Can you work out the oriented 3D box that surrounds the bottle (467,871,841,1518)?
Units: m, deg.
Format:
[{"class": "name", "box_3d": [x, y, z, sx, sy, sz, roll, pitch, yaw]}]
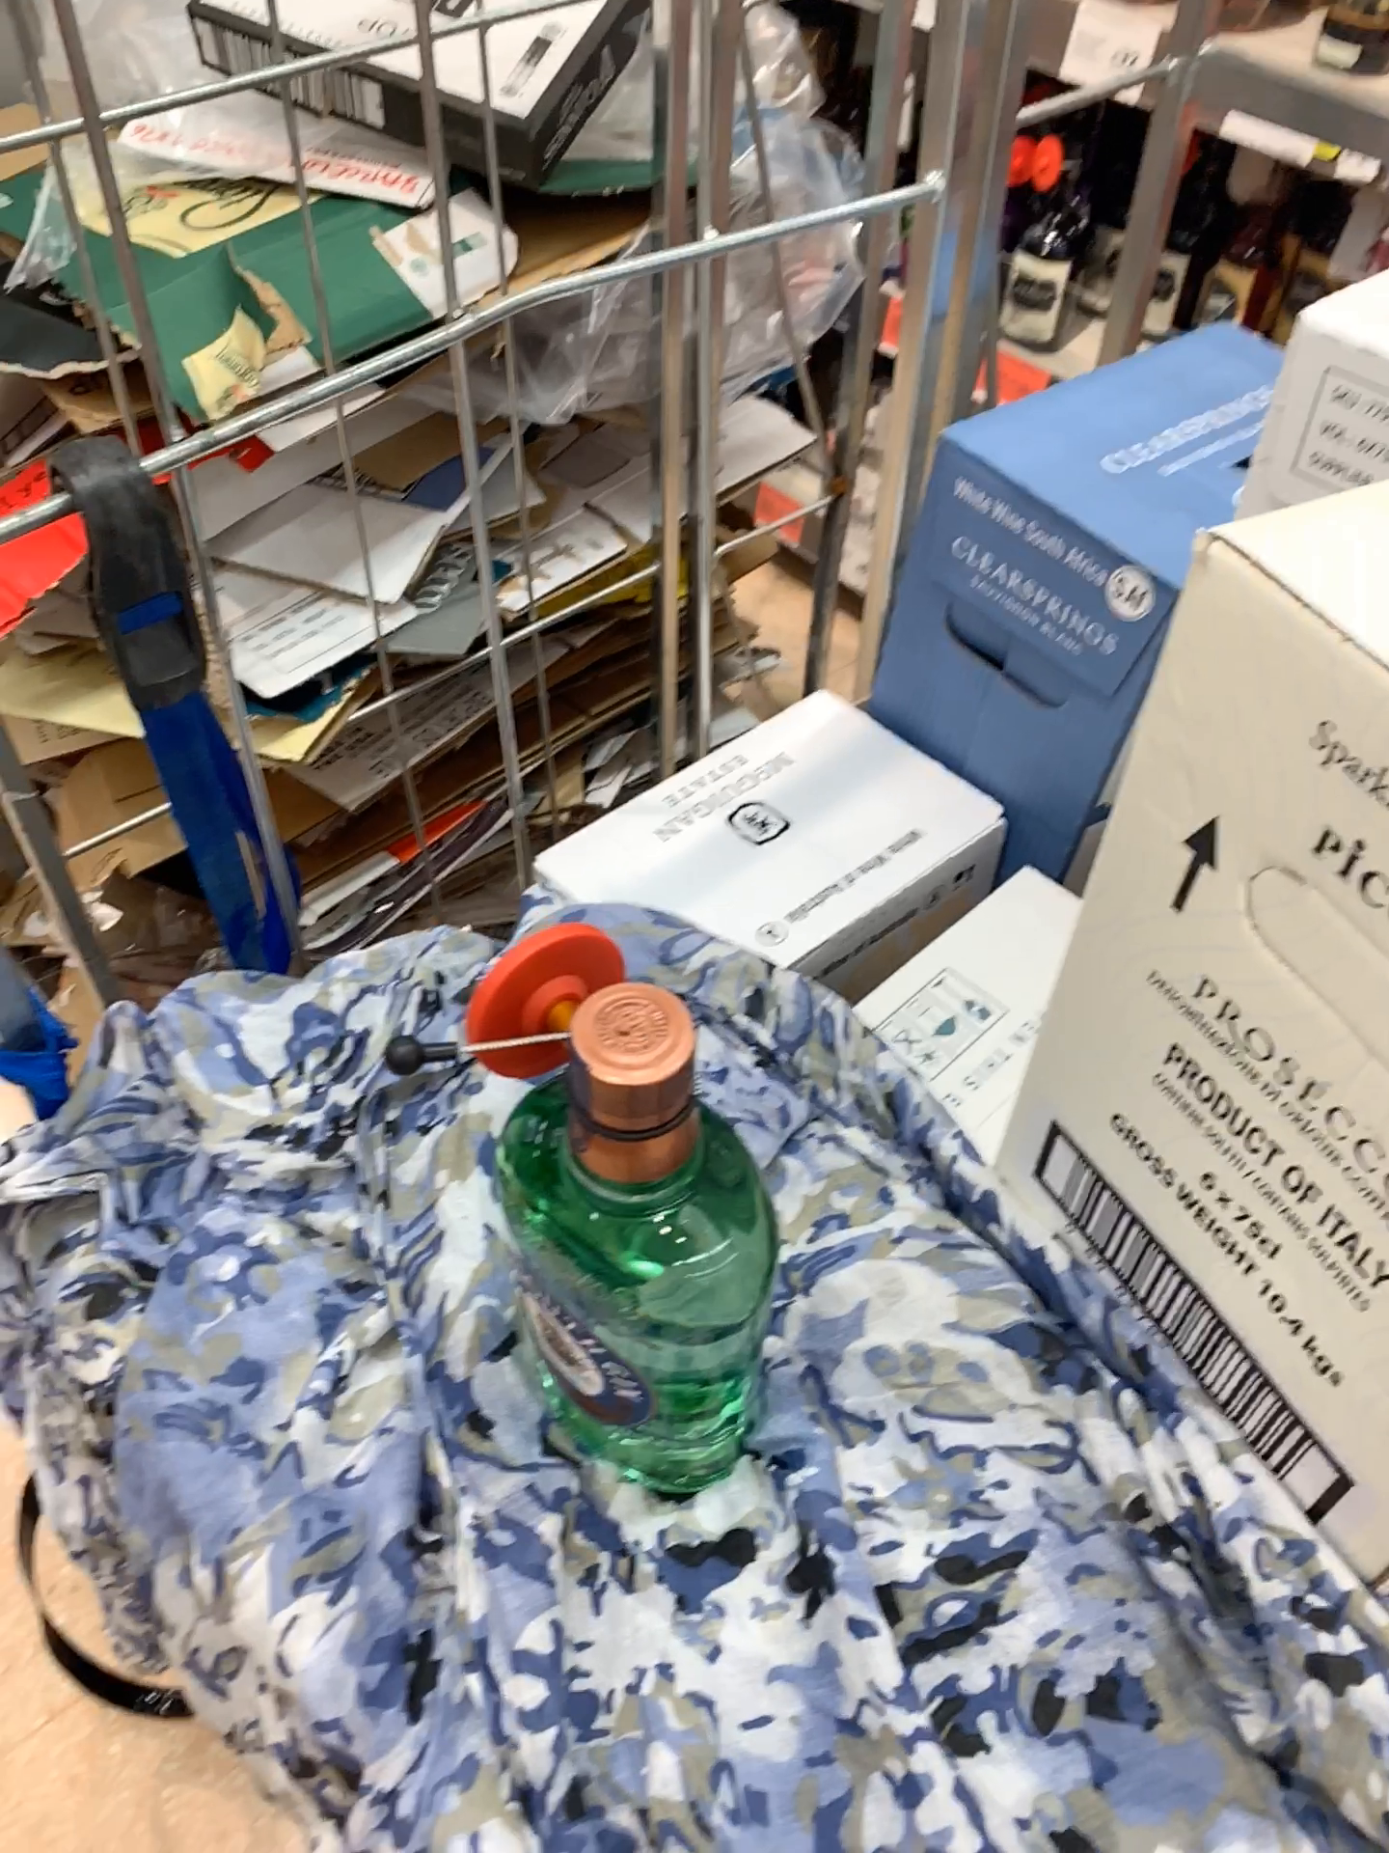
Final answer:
[{"class": "bottle", "box_3d": [-0.017, 0.101, 0.477, 0.058, 0.228, 0.095, -31, 56, -28]}]
